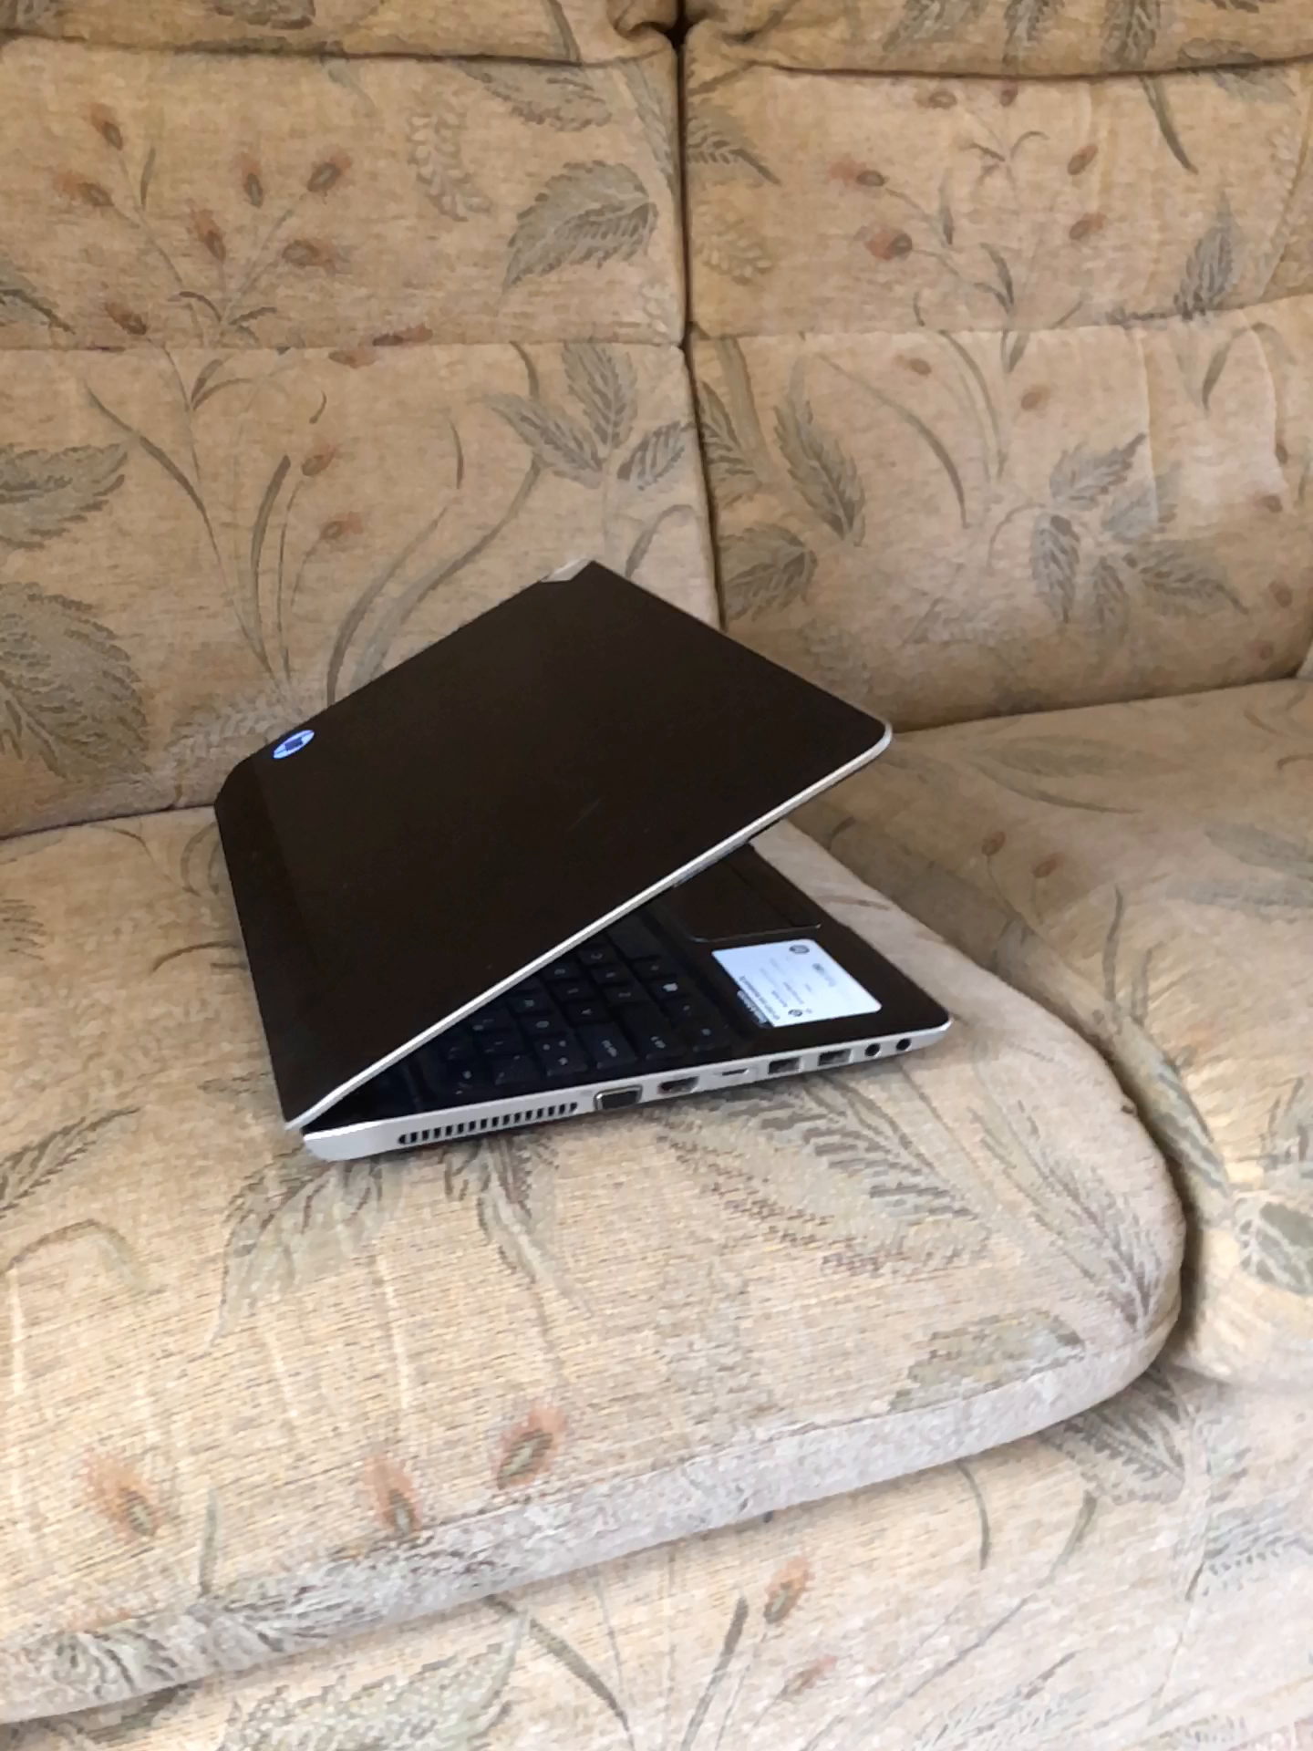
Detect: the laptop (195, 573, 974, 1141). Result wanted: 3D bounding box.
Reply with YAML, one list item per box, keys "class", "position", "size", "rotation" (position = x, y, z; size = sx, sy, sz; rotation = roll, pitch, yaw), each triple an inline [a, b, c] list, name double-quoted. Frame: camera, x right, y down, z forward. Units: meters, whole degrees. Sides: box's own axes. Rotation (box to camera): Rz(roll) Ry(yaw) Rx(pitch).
- class: "laptop"
  position: [-0.069, -0.046, 0.690]
  size: [0.254, 0.113, 0.398]
  rotation: [-8, 24, -18]
